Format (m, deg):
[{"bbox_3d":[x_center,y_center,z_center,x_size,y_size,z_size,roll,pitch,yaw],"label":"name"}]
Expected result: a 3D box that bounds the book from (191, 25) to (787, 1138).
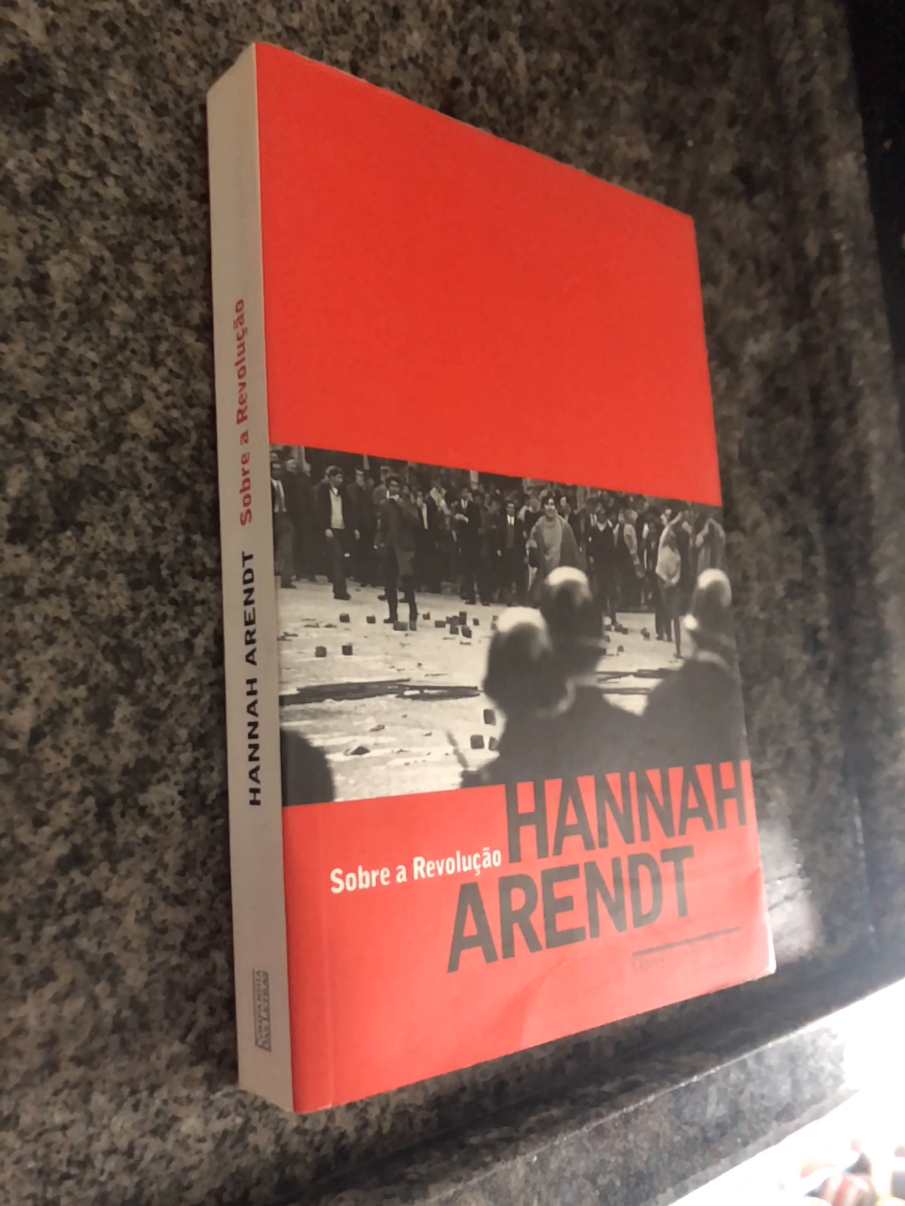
[{"bbox_3d":[0.014,-0.007,0.244,0.146,0.030,0.210,2,81,-37],"label":"book"}]
